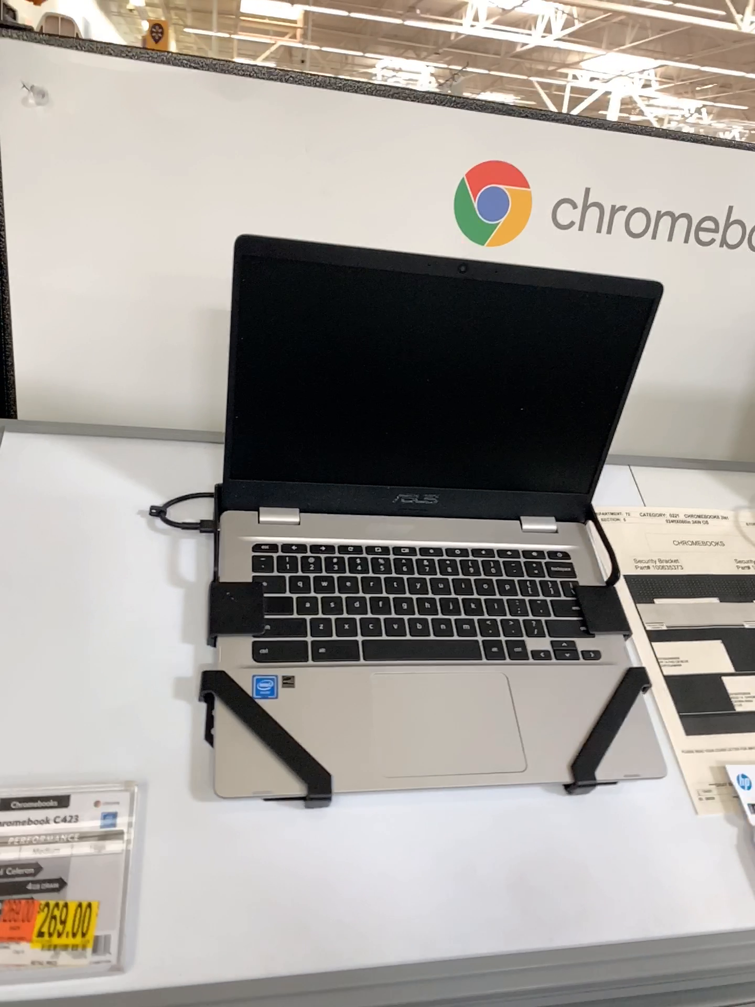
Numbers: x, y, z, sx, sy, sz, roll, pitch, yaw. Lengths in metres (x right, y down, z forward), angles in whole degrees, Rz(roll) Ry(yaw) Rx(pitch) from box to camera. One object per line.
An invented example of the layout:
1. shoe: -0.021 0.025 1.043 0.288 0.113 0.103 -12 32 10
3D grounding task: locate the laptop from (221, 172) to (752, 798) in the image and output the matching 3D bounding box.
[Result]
1. laptop: 0.049 -0.027 0.562 0.308 0.196 0.294 2 42 -13
